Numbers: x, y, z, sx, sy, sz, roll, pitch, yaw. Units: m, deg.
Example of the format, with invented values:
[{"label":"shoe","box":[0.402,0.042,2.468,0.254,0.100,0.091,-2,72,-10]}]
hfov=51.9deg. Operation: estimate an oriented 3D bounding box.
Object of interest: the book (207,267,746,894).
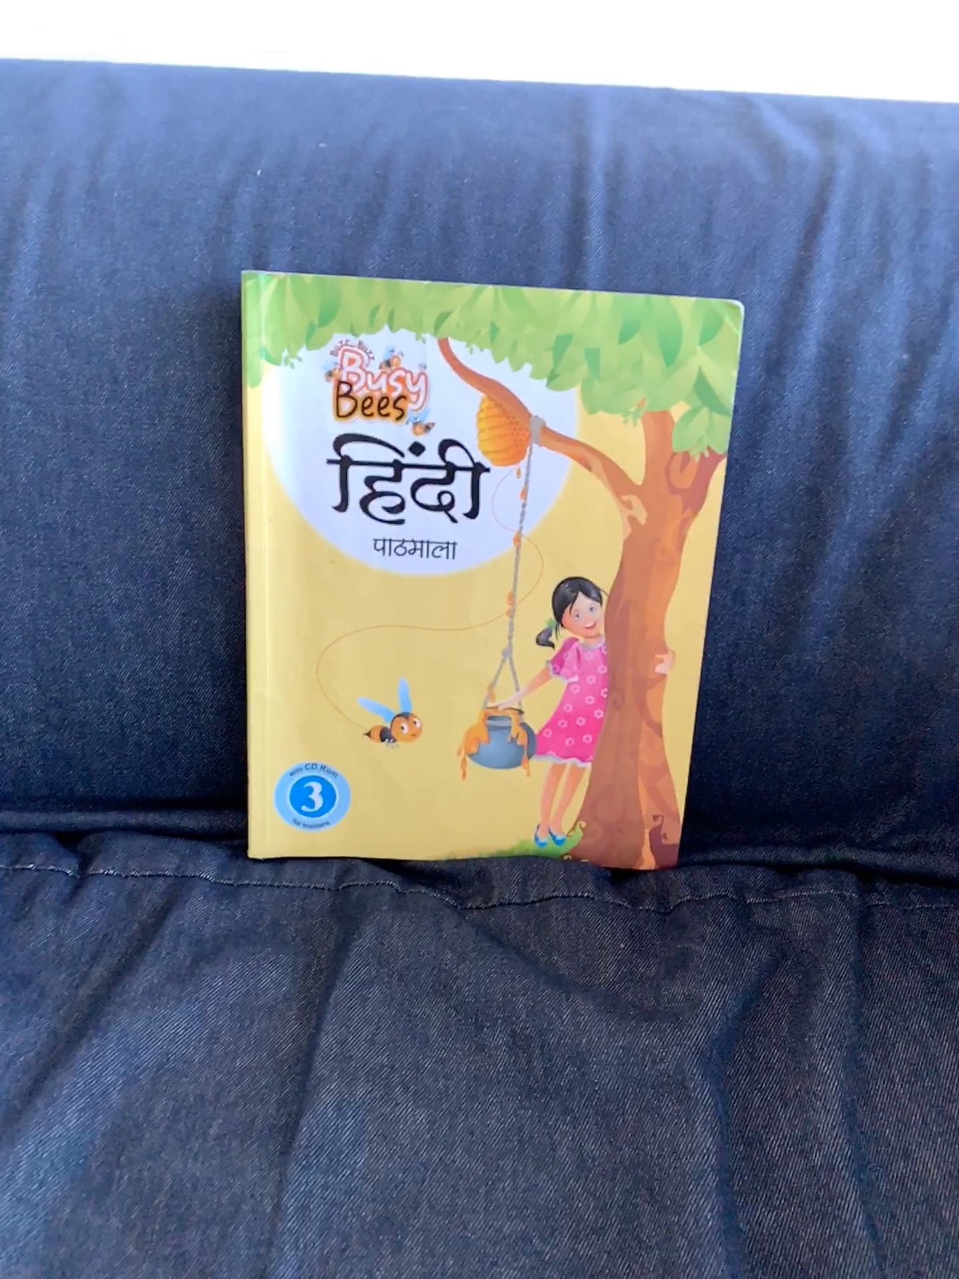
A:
[{"label":"book","box":[-0.008,-0.019,0.470,0.230,0.284,0.029,3,15,0]}]
